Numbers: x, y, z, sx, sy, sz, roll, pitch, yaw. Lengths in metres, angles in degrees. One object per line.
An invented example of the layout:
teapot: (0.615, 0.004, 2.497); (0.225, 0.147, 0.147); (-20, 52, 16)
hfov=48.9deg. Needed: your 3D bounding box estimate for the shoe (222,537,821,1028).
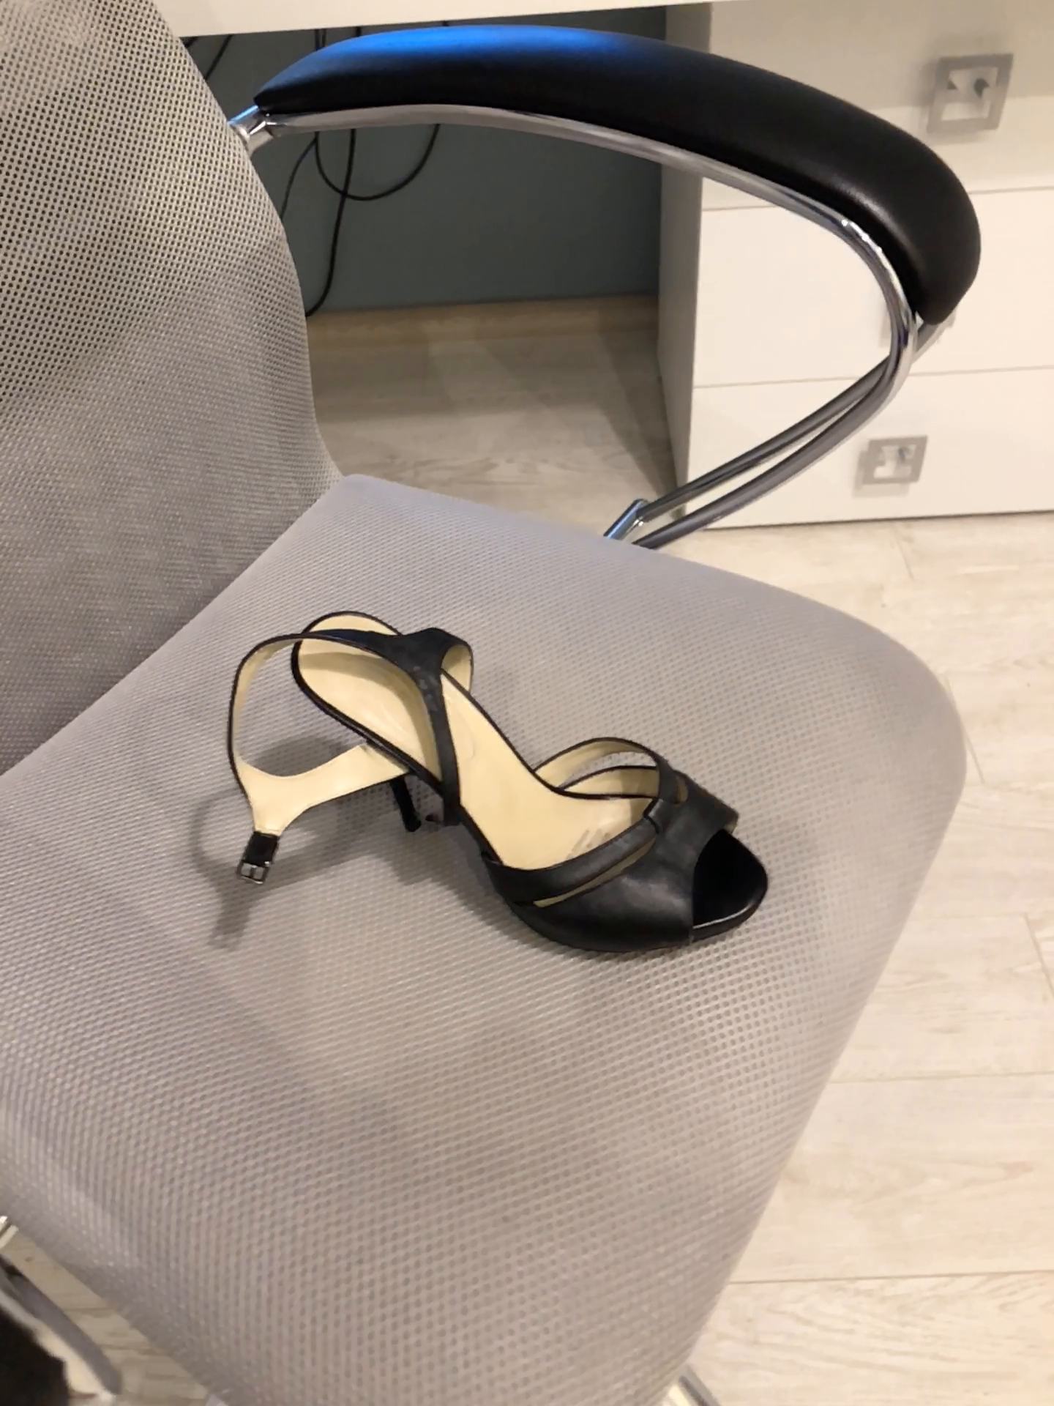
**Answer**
shoe: (-0.001, 0.030, 0.484); (0.210, 0.119, 0.091); (18, 51, 19)
